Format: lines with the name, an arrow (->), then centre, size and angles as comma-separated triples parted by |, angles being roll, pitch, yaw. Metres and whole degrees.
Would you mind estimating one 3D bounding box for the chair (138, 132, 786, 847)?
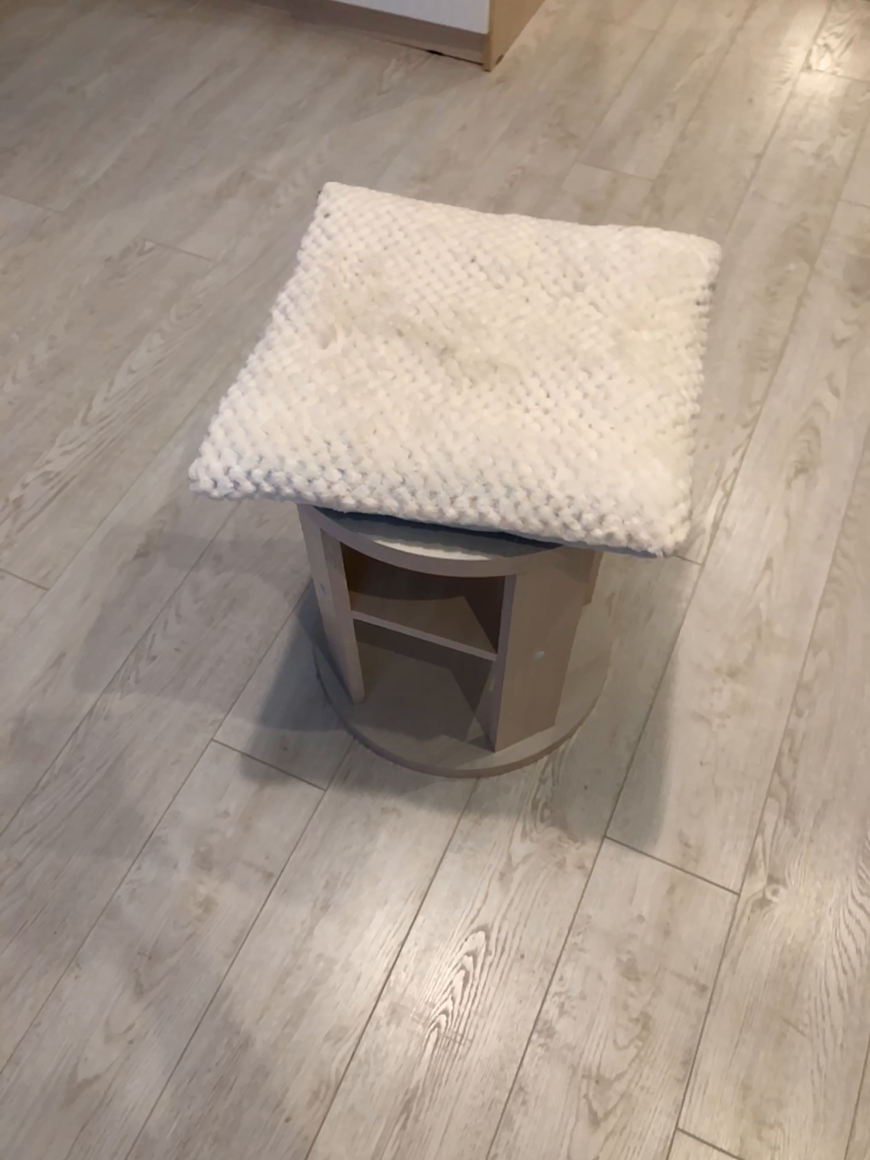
chair -> 0.037, -0.063, 1.002 | 0.400, 0.547, 0.382 | 23, 60, 14
